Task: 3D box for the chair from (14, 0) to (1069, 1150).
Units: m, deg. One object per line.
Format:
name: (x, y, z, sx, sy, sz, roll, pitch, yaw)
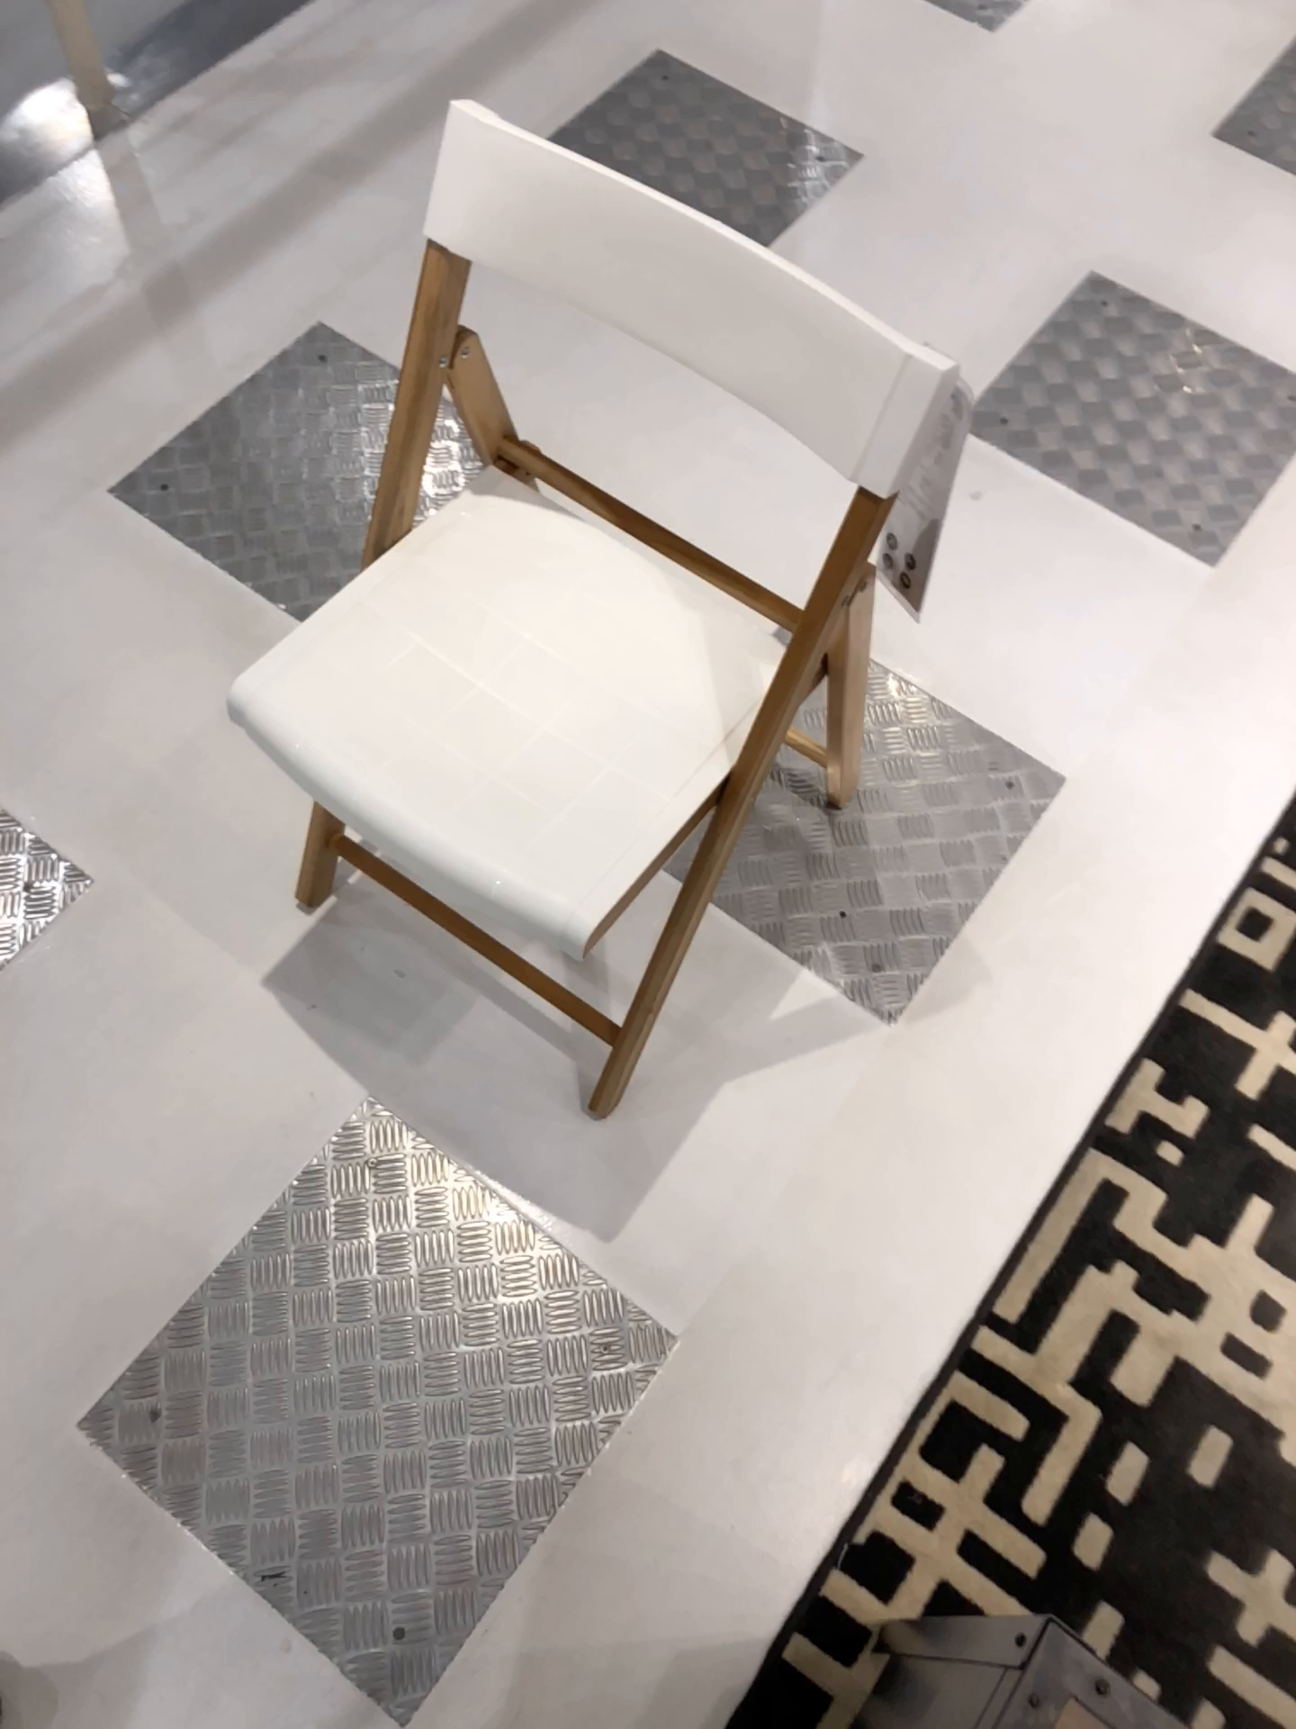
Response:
chair: (-0.068, -0.201, 1.272, 0.471, 0.707, 0.552, 33, 65, 14)
